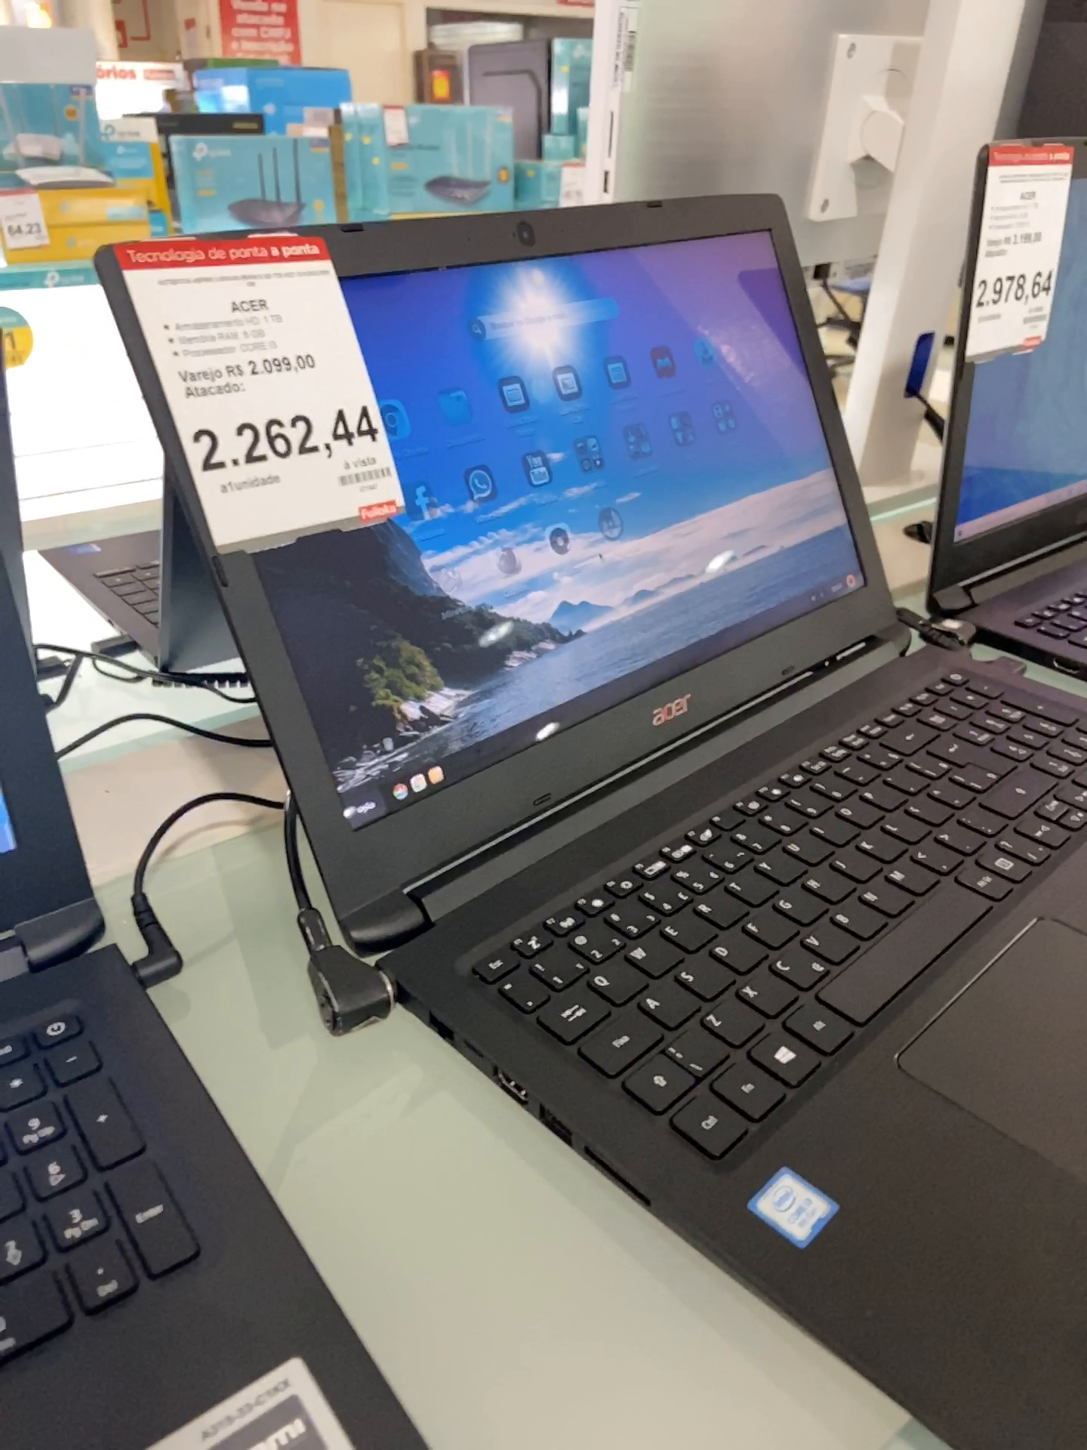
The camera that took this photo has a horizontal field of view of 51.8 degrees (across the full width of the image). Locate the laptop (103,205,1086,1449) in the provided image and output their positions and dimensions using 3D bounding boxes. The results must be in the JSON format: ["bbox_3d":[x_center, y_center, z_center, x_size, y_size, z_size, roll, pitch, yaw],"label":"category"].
[{"bbox_3d":[0.121,-0.059,0.429,0.390,0.226,0.375,-24,36,-37],"label":"laptop"}]
